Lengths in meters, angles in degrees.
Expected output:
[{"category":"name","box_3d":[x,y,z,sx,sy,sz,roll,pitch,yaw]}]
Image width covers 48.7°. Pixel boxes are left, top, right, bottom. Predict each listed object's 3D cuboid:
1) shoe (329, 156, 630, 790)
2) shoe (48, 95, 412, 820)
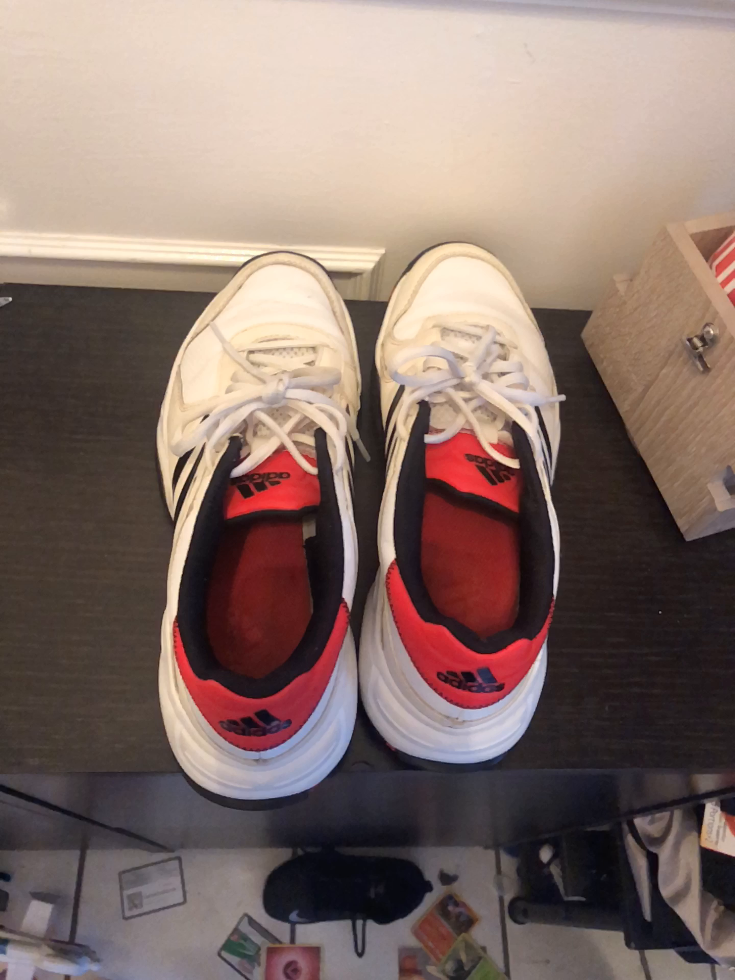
[{"category":"shoe","box_3d":[0.044,-0.018,0.418,0.110,0.100,0.311,3,63,-3]},{"category":"shoe","box_3d":[-0.051,-0.024,0.368,0.110,0.110,0.311,0,63,-5]}]
